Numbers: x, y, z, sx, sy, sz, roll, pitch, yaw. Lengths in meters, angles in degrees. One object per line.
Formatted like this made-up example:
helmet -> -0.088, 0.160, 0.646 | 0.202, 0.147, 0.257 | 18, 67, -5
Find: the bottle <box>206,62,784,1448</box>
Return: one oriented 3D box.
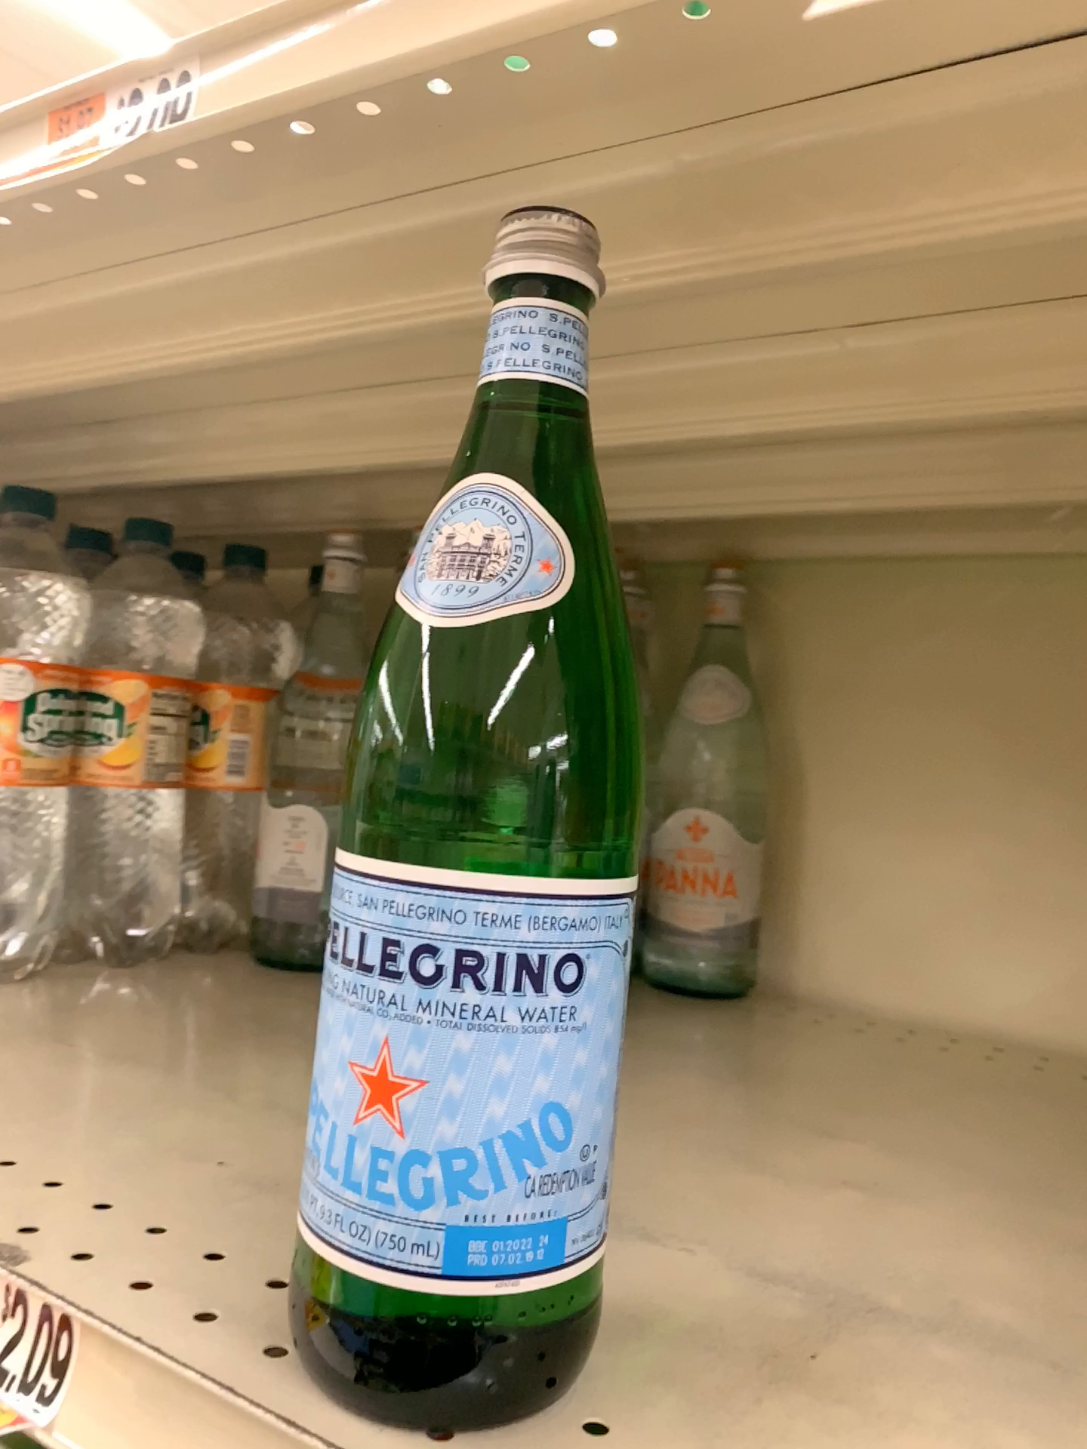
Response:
bottle -> -0.009, 0.010, 0.287 | 0.090, 0.290, 0.090 | 4, -1, 0
